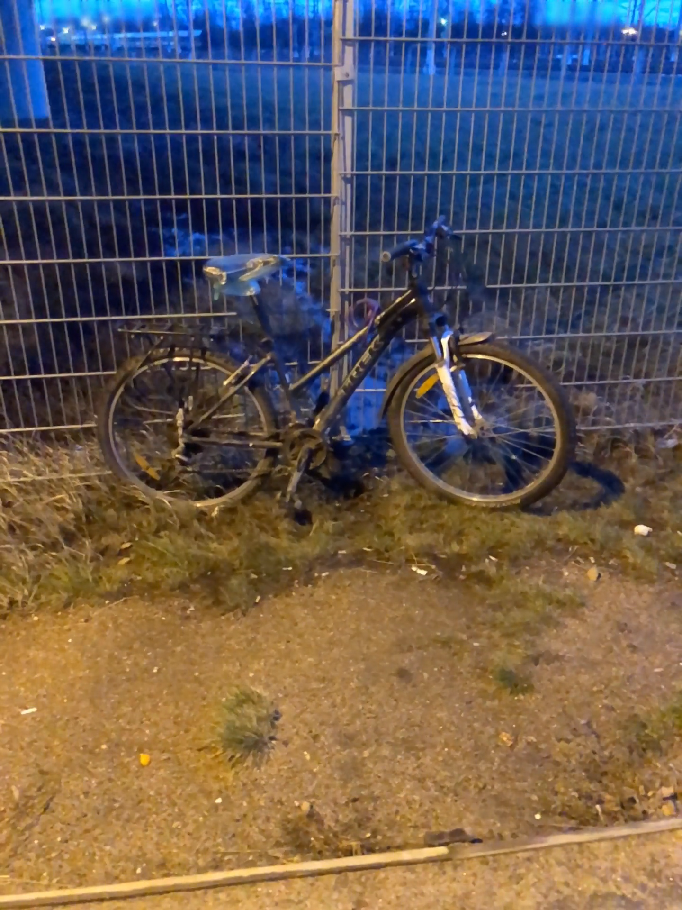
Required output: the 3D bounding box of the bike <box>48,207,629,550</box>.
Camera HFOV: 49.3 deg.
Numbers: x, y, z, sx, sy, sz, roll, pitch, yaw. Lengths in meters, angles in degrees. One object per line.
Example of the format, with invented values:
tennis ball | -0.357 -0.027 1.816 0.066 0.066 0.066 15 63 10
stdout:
bike | -0.041 -0.271 2.482 1.583 0.947 0.573 2 27 6
